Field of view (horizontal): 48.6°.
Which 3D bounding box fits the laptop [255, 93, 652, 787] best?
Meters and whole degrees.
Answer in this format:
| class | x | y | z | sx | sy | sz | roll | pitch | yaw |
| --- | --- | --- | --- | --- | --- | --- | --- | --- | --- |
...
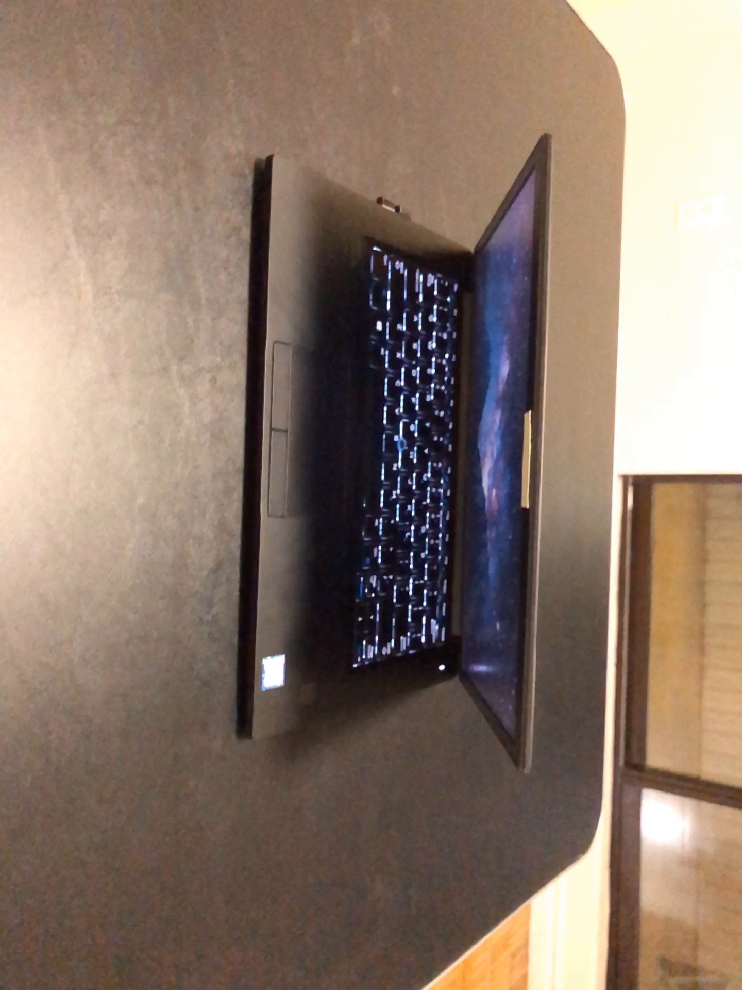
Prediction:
| class | x | y | z | sx | sy | sz | roll | pitch | yaw |
| --- | --- | --- | --- | --- | --- | --- | --- | --- | --- |
| laptop | 0.063 | -0.028 | 0.507 | 0.221 | 0.142 | 0.318 | 2 | 89 | -54 |
